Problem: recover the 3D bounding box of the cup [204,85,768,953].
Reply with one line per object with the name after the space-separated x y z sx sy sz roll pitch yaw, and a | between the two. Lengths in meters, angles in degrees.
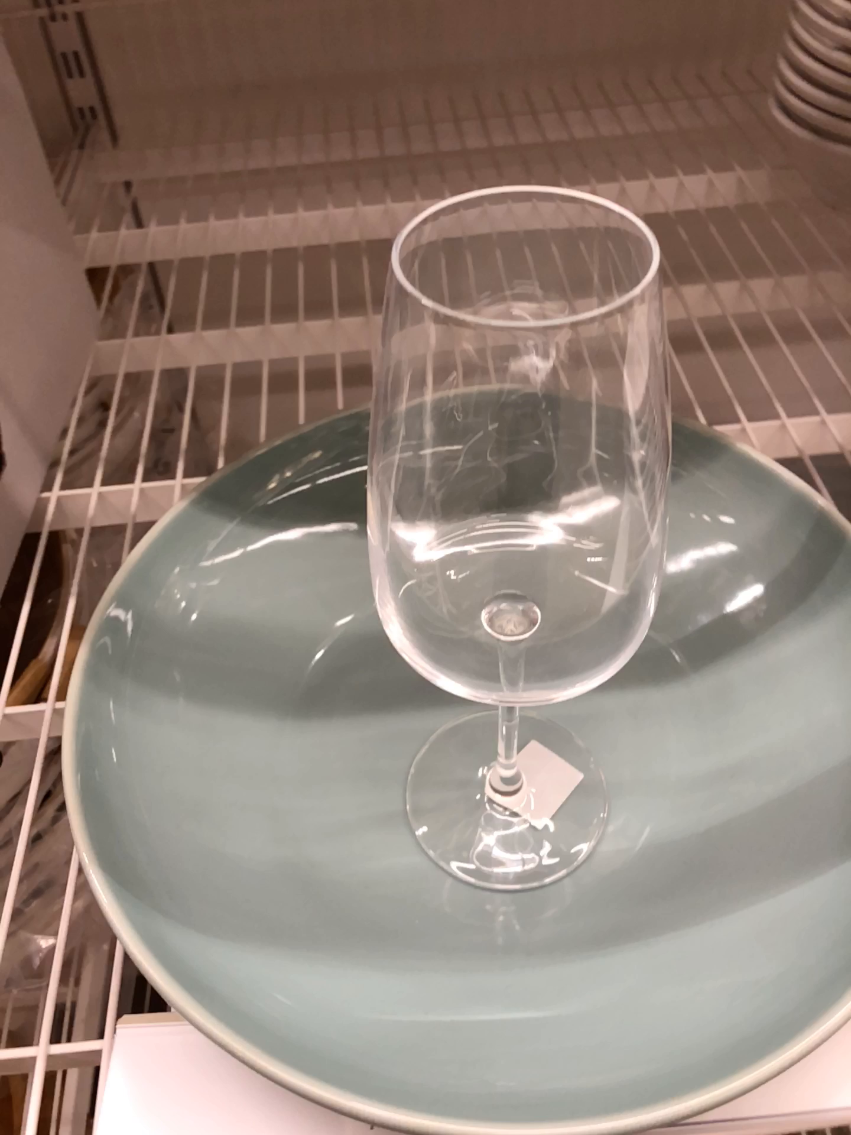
0.026 0.008 0.321 0.100 0.279 0.100 -2 46 2 | cup
